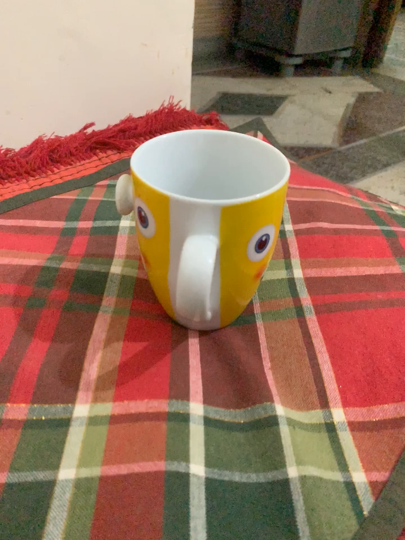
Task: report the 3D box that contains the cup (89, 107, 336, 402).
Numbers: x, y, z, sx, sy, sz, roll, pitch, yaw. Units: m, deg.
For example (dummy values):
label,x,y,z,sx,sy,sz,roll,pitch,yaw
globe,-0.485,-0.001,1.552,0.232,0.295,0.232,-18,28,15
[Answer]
label,x,y,z,sx,sy,sz,roll,pitch,yaw
cup,0.007,-0.016,0.206,0.080,0.080,0.120,7,40,3
